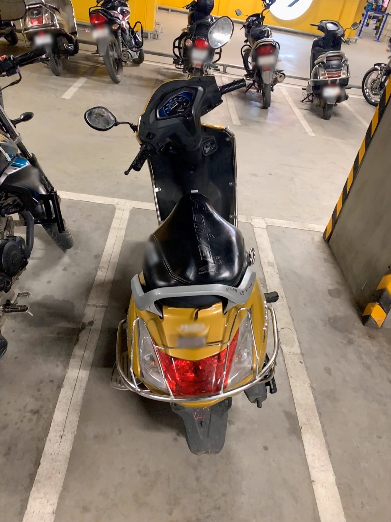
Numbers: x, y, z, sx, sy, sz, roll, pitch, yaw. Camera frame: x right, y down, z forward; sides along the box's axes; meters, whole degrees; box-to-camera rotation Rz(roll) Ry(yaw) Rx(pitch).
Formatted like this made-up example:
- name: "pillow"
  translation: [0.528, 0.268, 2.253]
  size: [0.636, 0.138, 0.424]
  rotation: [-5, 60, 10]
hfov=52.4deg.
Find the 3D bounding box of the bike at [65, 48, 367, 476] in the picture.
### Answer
- name: "bike"
  translation: [-0.115, -0.149, 1.628]
  size: [0.568, 0.993, 1.528]
  rotation: [3, 36, -11]
